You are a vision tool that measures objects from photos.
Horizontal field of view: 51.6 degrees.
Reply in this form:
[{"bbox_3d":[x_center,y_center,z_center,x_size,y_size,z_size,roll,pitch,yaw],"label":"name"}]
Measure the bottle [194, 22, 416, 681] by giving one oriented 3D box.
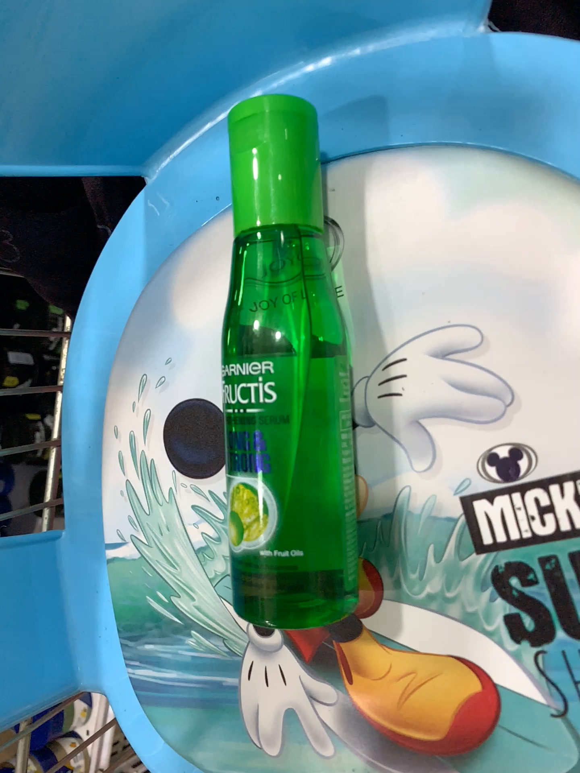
[{"bbox_3d":[0.003,-0.009,0.173,0.040,0.040,0.160,-6,87,53],"label":"bottle"}]
